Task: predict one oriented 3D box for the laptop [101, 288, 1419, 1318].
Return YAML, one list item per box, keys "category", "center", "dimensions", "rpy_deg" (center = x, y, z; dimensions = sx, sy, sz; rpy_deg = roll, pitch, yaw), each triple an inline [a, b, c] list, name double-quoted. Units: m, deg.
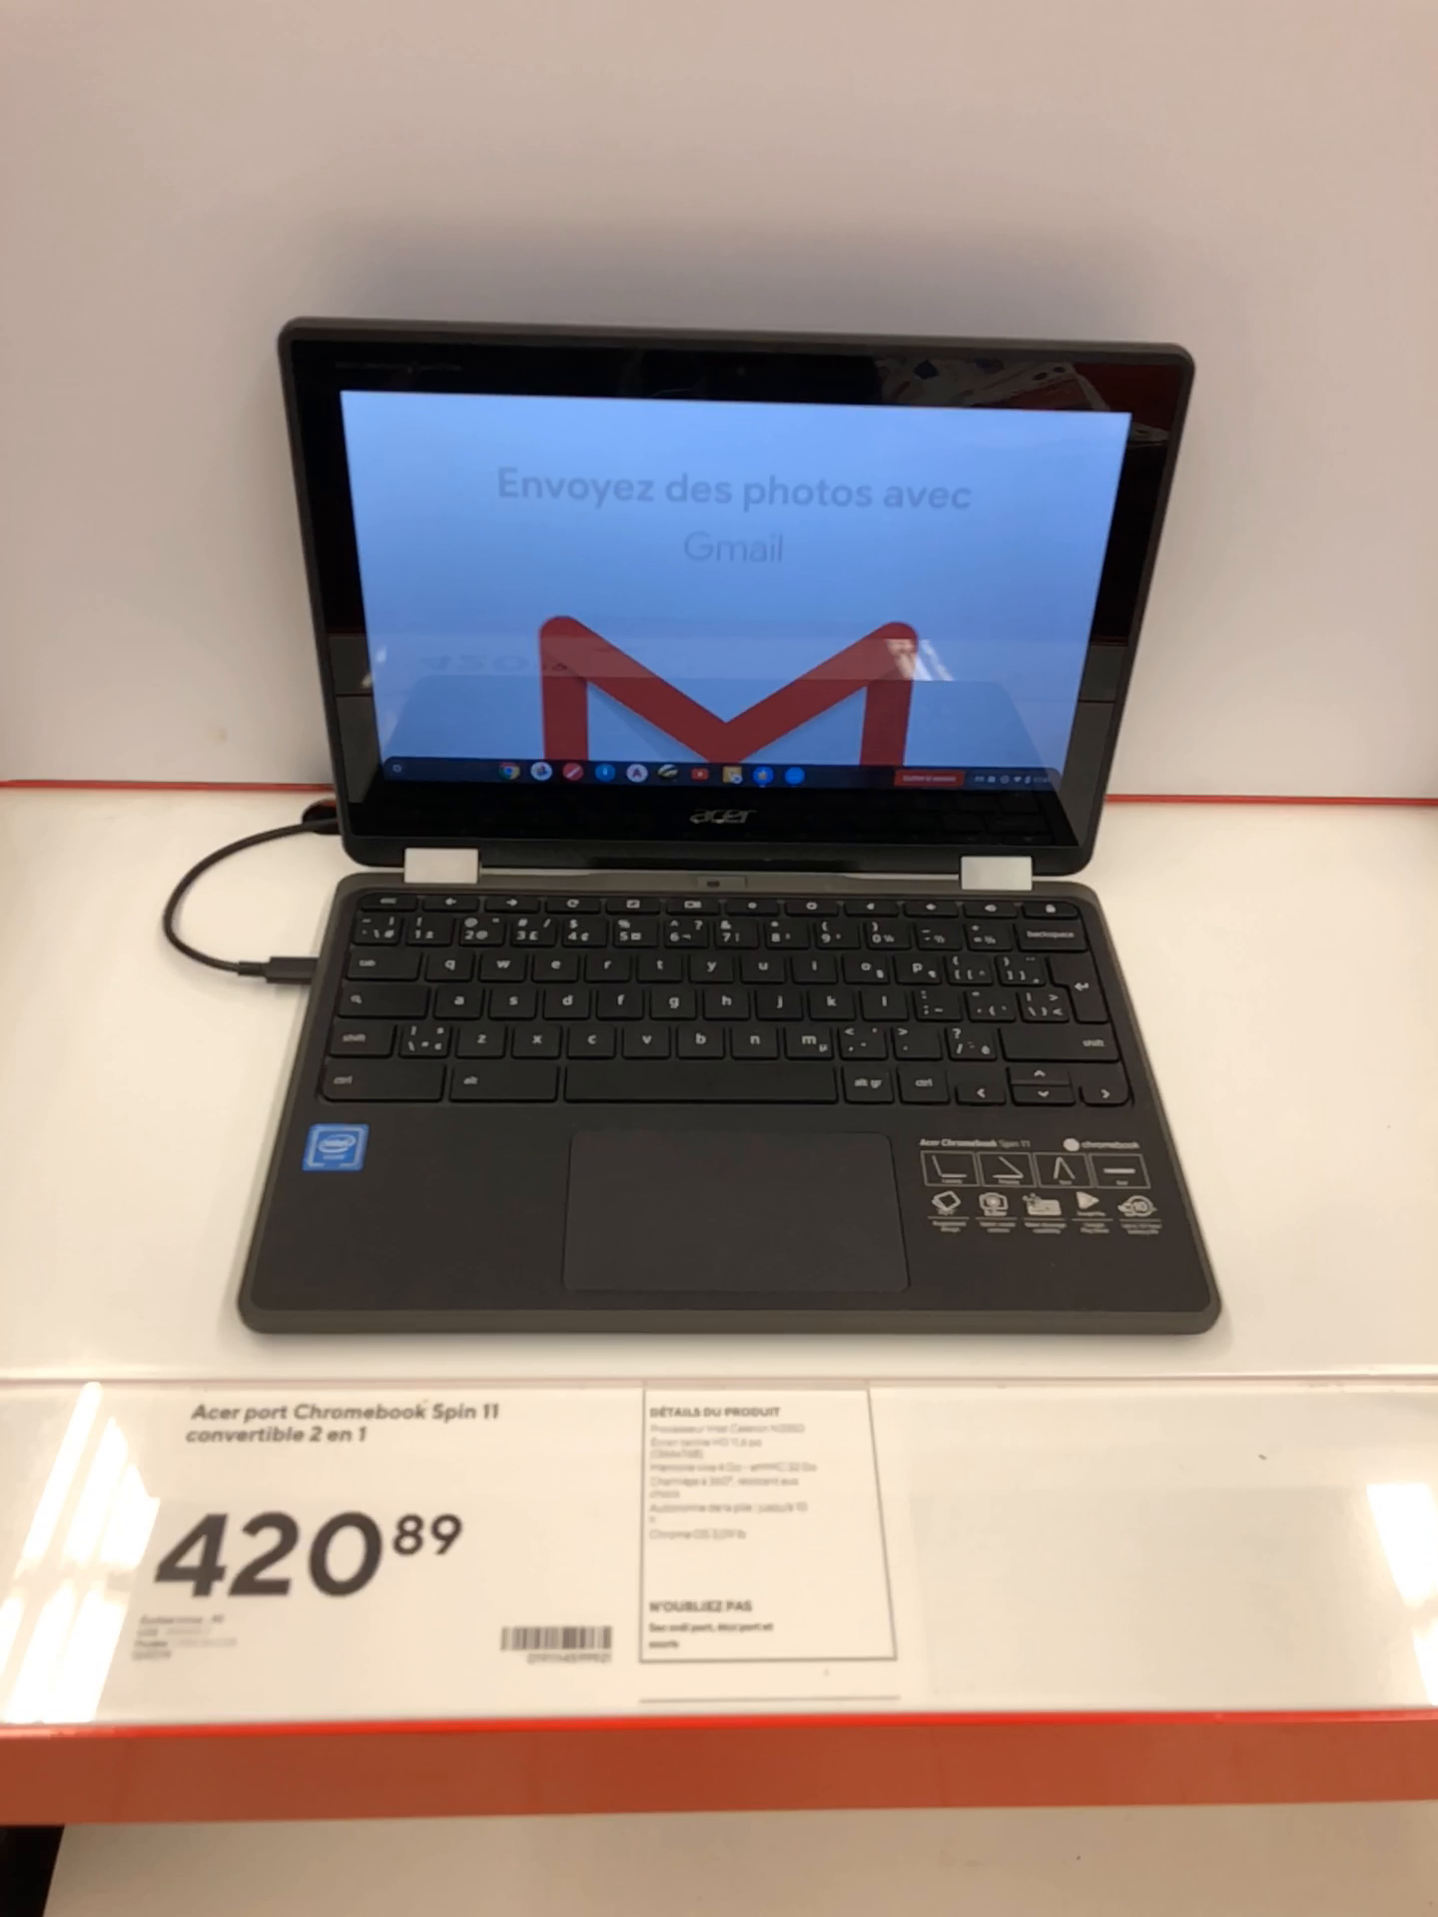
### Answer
- category: "laptop"
  center: [0.003, -0.054, 0.499]
  dimensions: [0.289, 0.198, 0.253]
  rpy_deg: [0, 46, -2]
